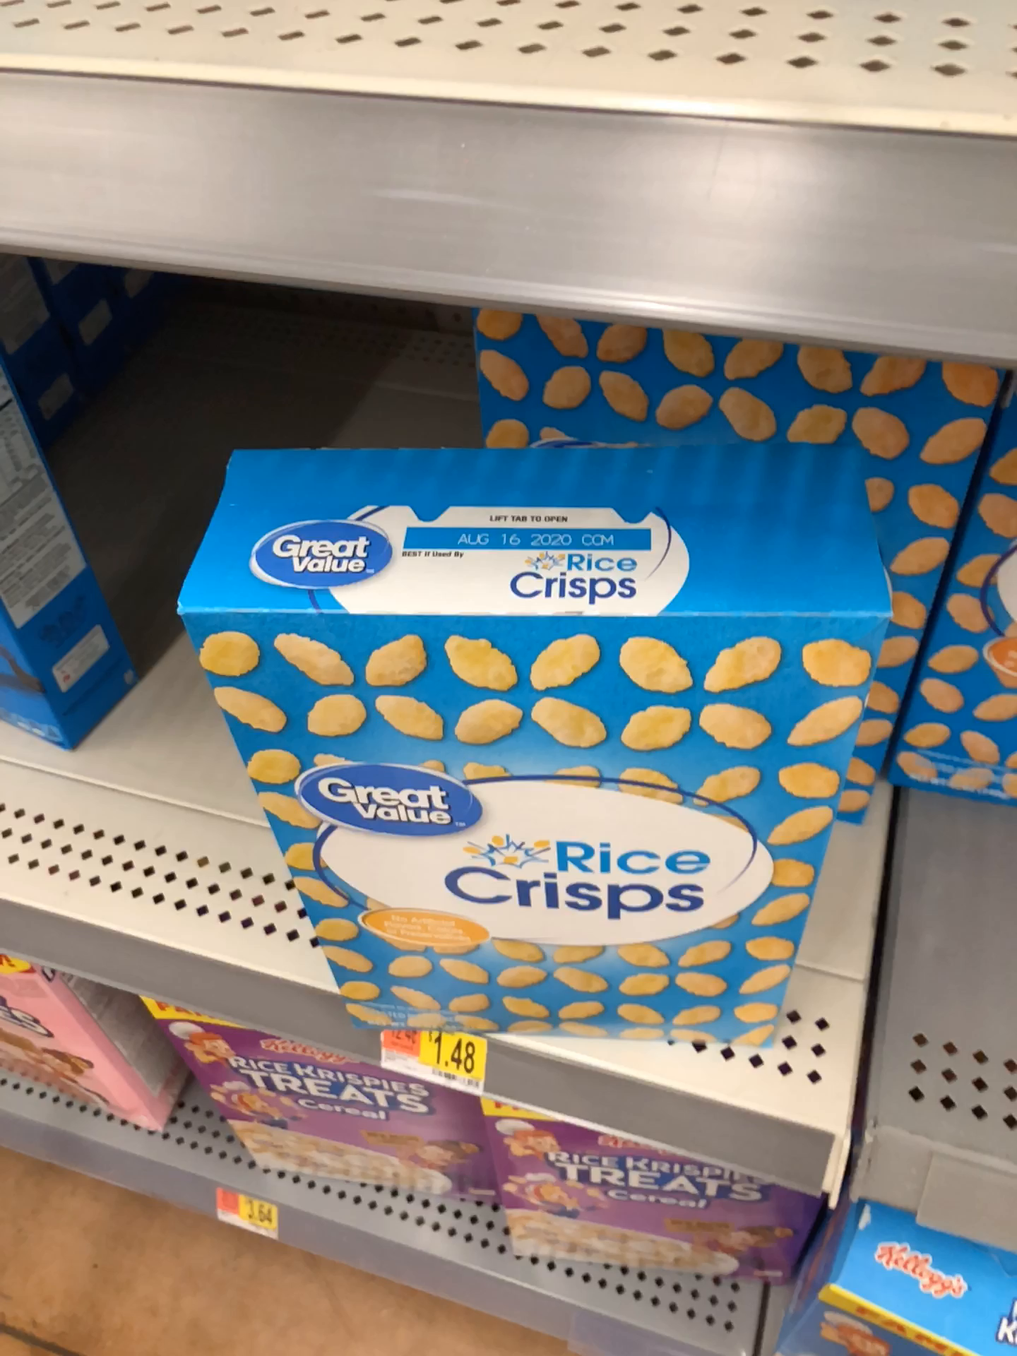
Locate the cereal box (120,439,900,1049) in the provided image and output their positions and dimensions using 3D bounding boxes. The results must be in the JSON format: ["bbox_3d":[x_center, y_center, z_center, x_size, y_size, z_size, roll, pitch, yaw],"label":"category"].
[{"bbox_3d":[0.010,0.044,0.413,0.200,0.269,0.070,0,50,6],"label":"cereal box"}]
